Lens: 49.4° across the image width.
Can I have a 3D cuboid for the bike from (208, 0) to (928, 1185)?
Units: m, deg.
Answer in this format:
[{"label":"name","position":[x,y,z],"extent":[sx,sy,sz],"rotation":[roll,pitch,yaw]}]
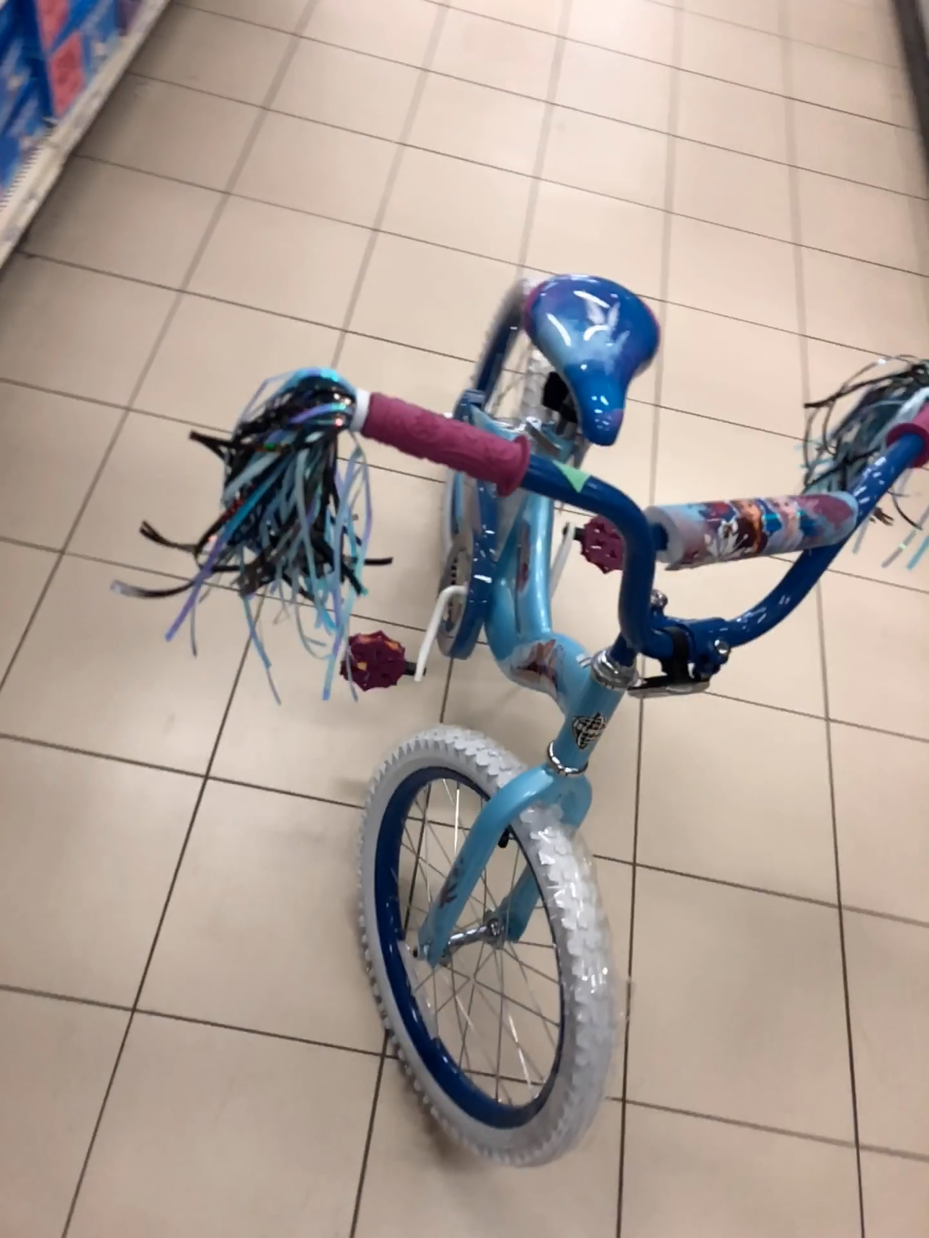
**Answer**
[{"label":"bike","position":[0.131,-0.085,1.103],"extent":[0.640,0.954,1.180],"rotation":[5,54,-10]}]
